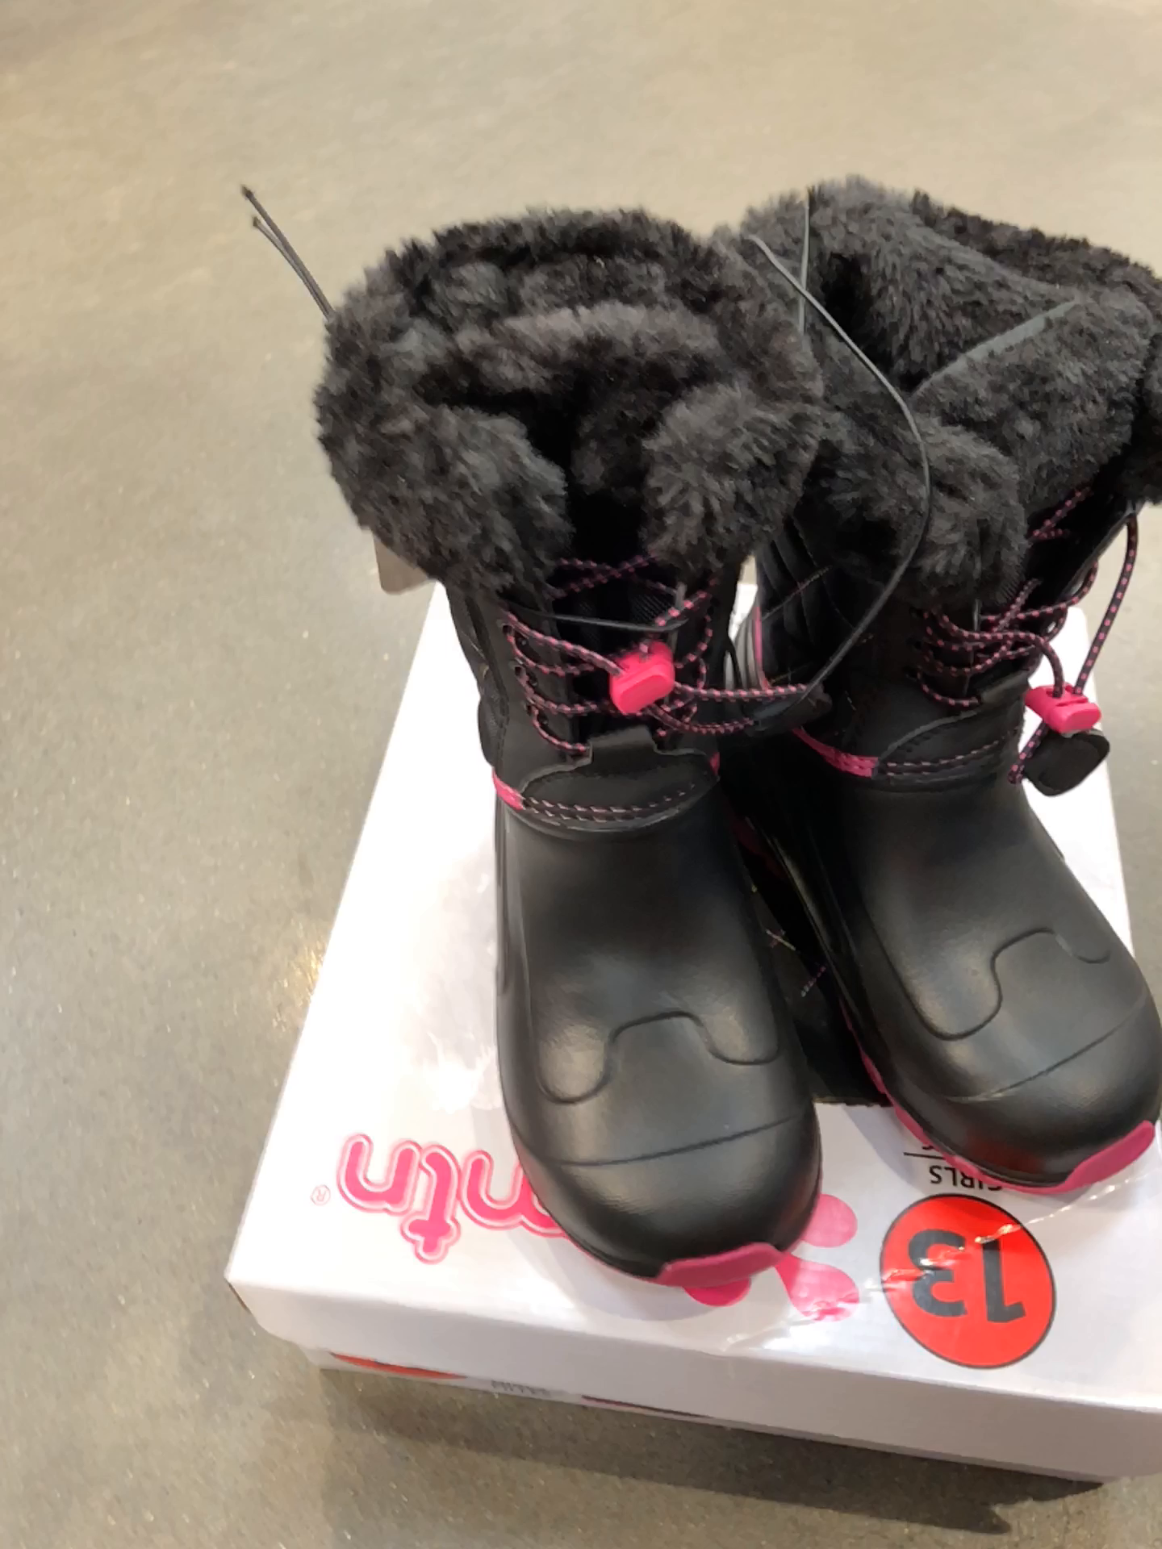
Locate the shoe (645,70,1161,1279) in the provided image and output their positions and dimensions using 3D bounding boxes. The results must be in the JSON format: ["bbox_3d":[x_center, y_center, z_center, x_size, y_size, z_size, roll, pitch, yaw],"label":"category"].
[{"bbox_3d":[0.114,-0.022,0.360,0.110,0.230,0.221,-17,53,-12],"label":"shoe"}]

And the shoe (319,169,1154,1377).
[{"bbox_3d":[0.012,0.003,0.340,0.110,0.210,0.221,-9,51,-7],"label":"shoe"}]
